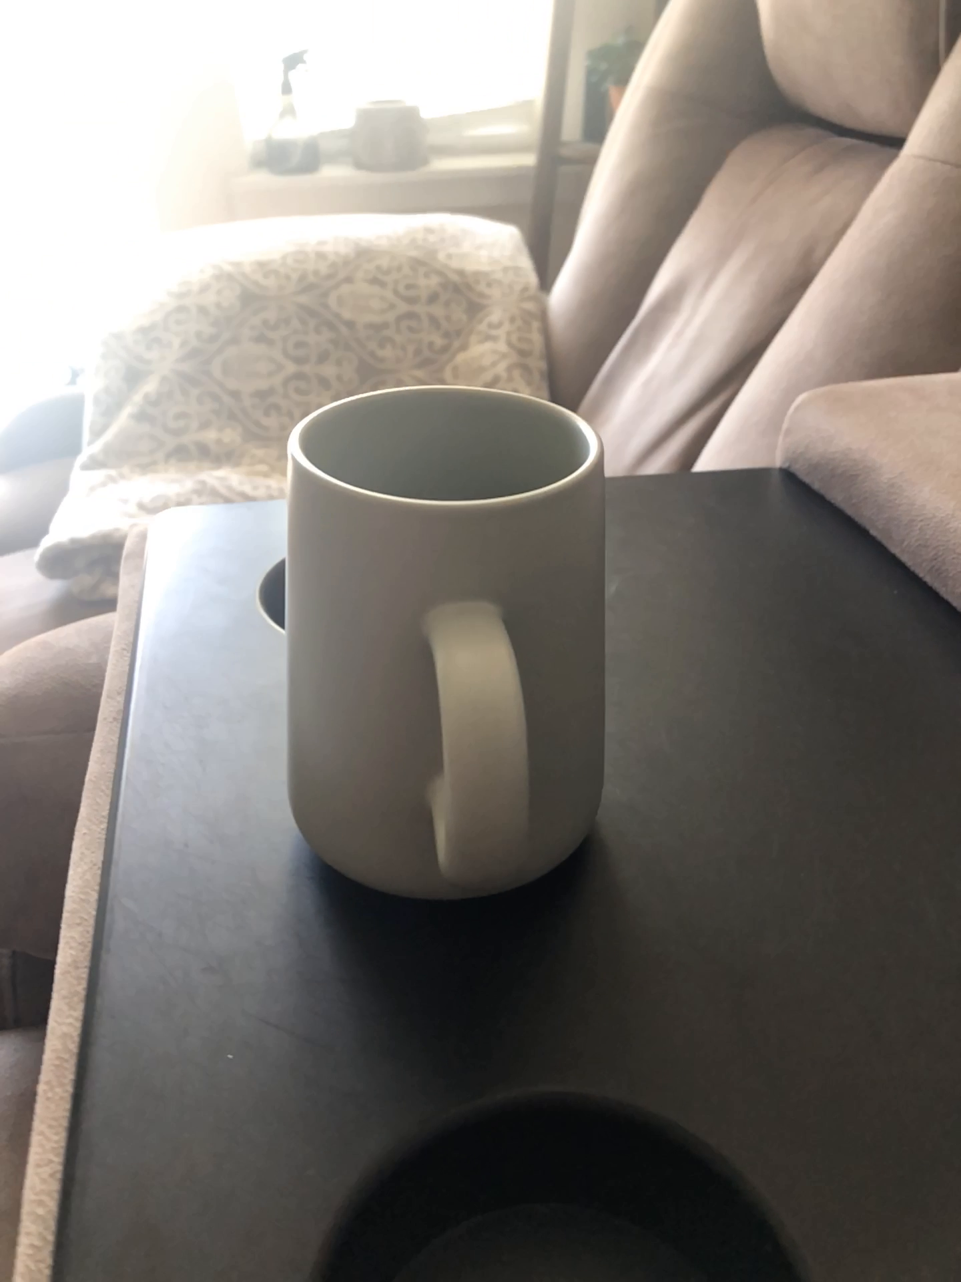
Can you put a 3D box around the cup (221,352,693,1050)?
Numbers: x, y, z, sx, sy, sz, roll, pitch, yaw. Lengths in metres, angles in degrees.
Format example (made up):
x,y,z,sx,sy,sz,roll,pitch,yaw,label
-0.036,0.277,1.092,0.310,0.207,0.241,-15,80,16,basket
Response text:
x,y,z,sx,sy,sz,roll,pitch,yaw,label
-0.011,0.006,0.283,0.086,0.121,0.137,-5,32,-5,cup
